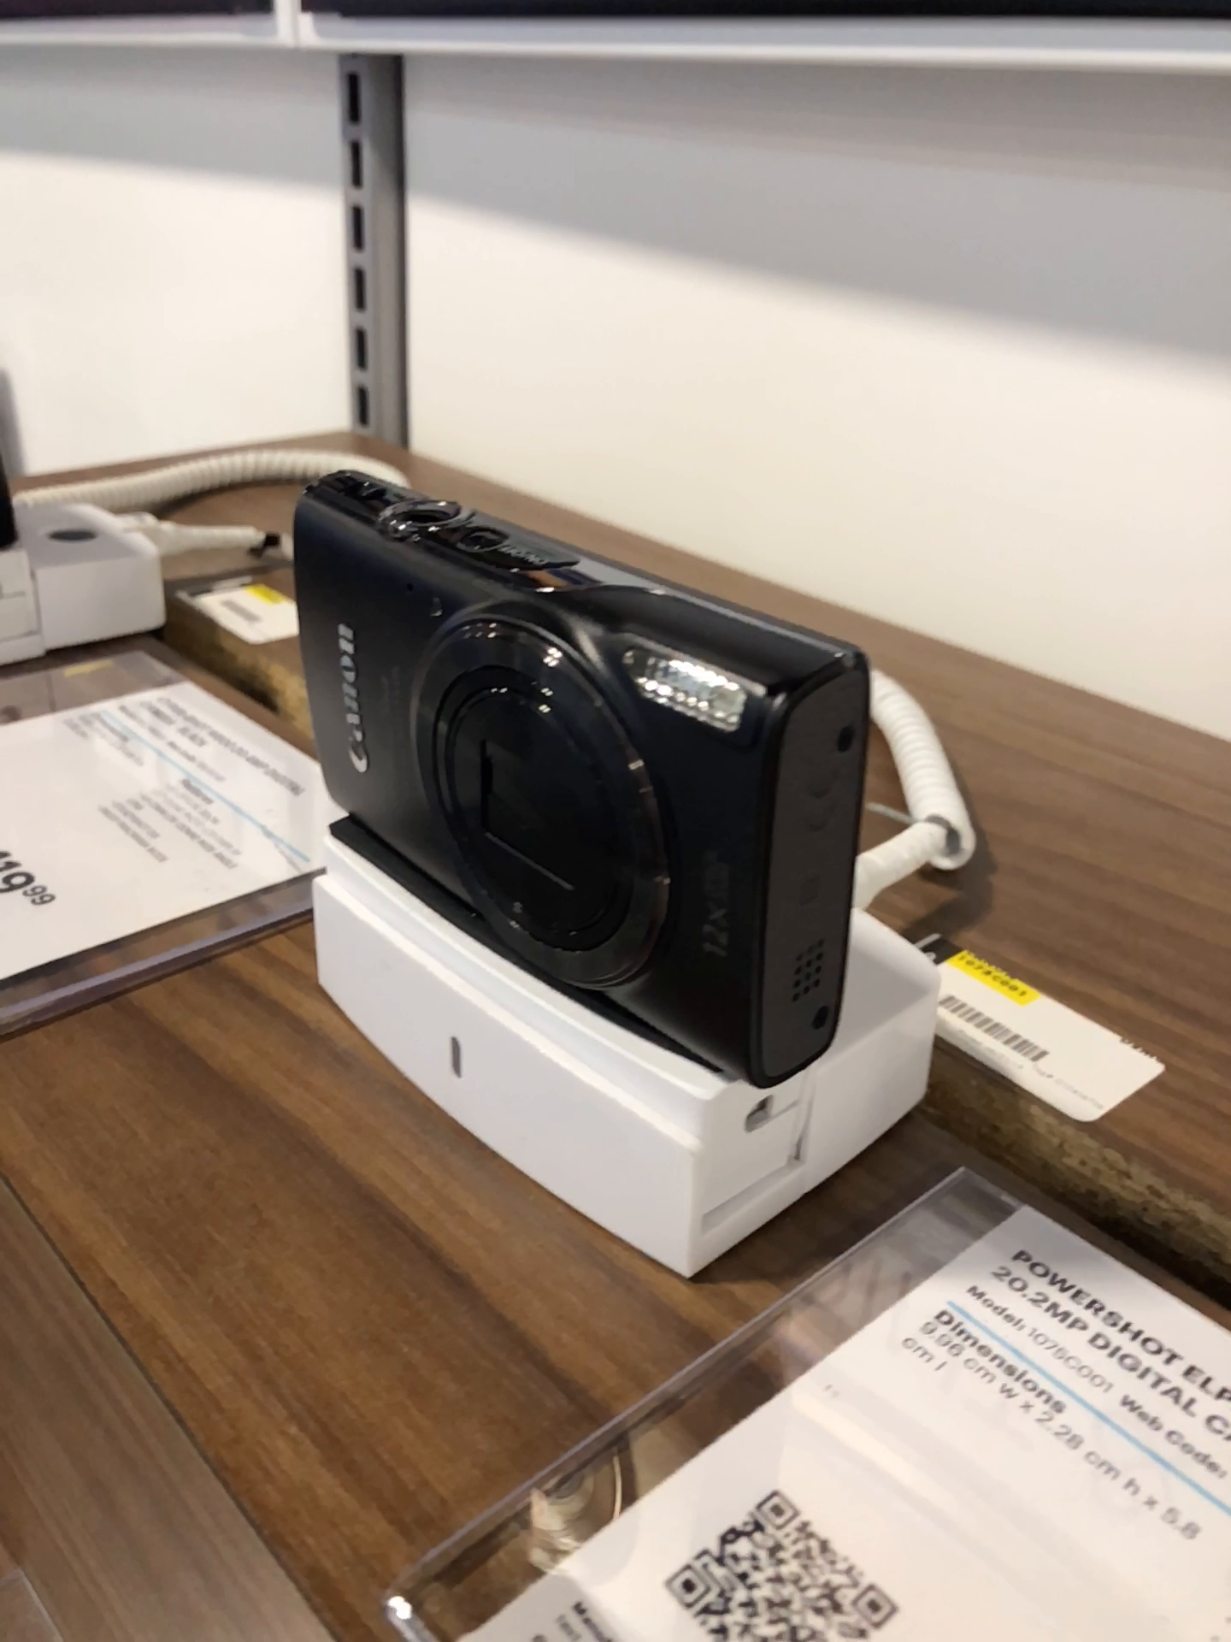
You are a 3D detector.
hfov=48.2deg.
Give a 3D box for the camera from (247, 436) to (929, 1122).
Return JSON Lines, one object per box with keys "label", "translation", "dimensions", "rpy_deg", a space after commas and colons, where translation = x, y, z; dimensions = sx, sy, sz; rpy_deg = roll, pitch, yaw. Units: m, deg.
{"label": "camera", "translation": [-0.011, -0.013, 0.194], "dimensions": [0.030, 0.060, 0.100], "rpy_deg": [-20, 35, -39]}
